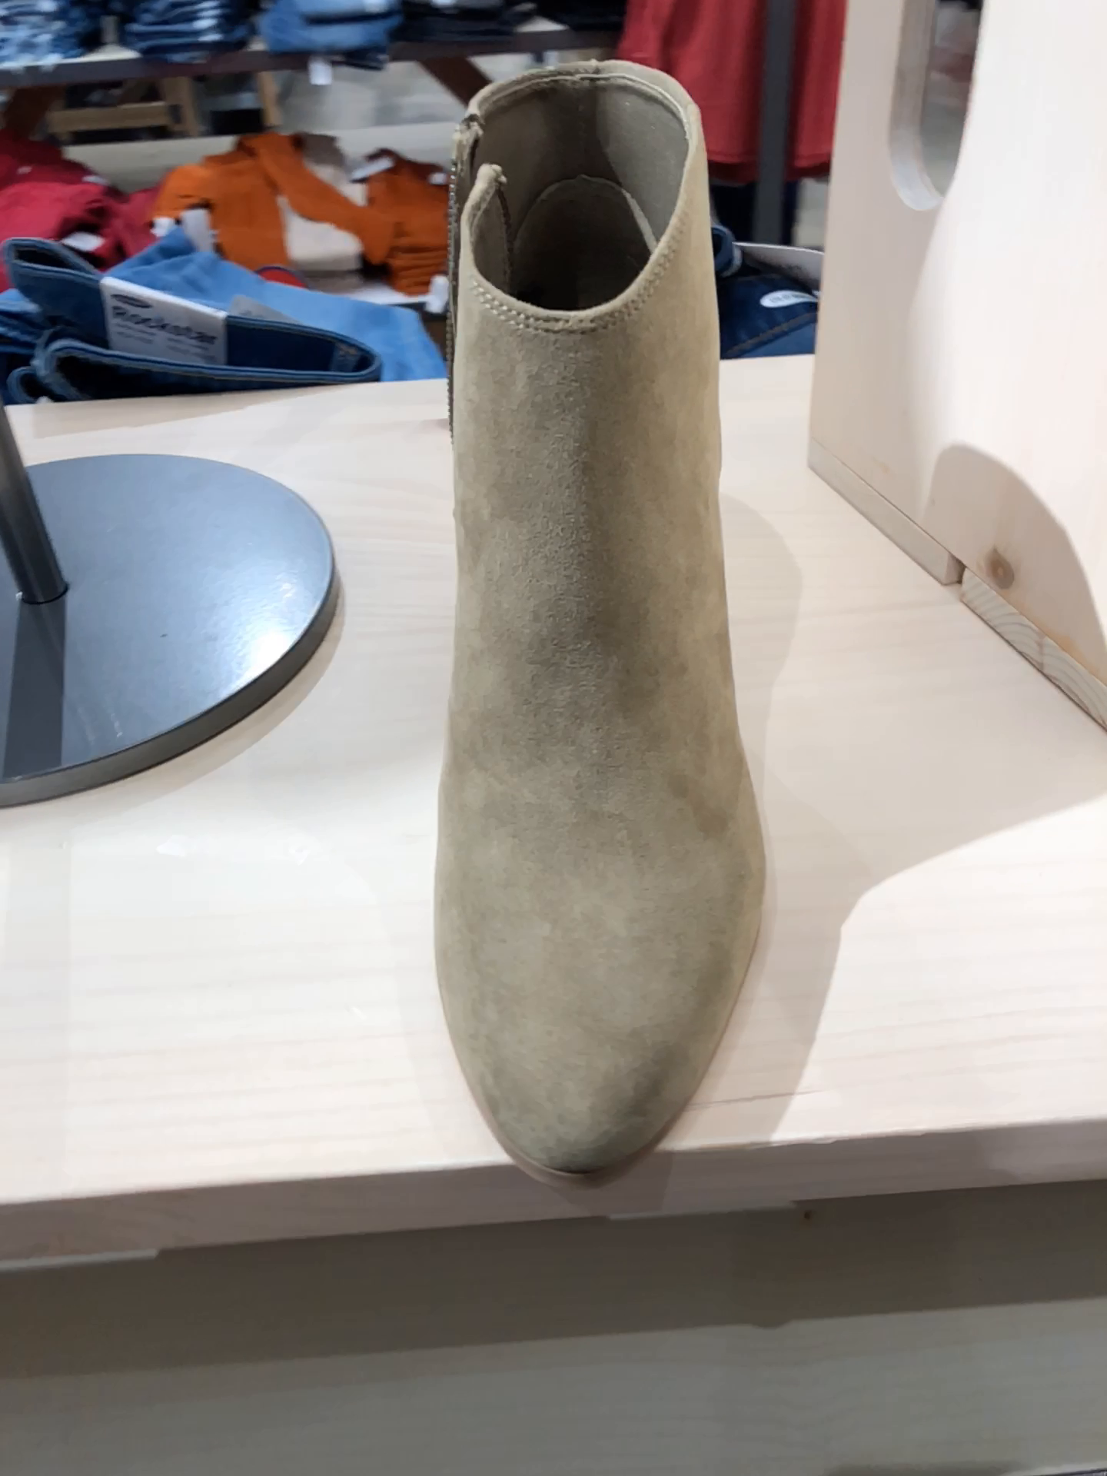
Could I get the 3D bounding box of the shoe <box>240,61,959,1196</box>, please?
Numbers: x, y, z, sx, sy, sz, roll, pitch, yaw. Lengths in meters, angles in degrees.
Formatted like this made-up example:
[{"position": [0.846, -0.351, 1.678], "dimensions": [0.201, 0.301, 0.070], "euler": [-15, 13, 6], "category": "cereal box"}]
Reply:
[{"position": [0.015, -0.043, 0.296], "dimensions": [0.090, 0.169, 0.231], "euler": [0, 39, 4], "category": "shoe"}]
